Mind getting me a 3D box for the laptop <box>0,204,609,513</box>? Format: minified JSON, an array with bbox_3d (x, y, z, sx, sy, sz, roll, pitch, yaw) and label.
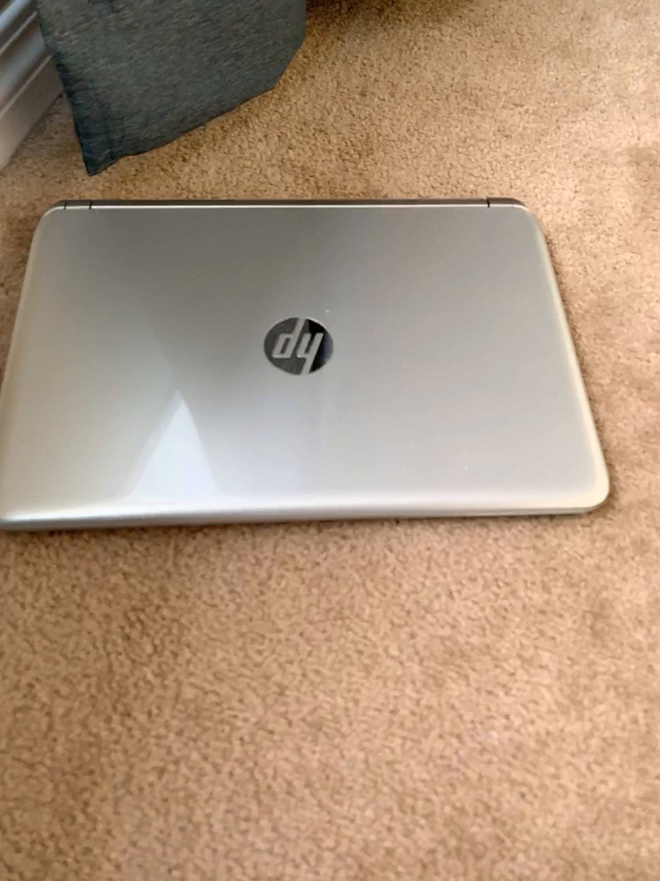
[{"bbox_3d":[-0.021,-0.063,0.407,0.328,0.002,0.223,-1,61,-2],"label":"laptop"}]
